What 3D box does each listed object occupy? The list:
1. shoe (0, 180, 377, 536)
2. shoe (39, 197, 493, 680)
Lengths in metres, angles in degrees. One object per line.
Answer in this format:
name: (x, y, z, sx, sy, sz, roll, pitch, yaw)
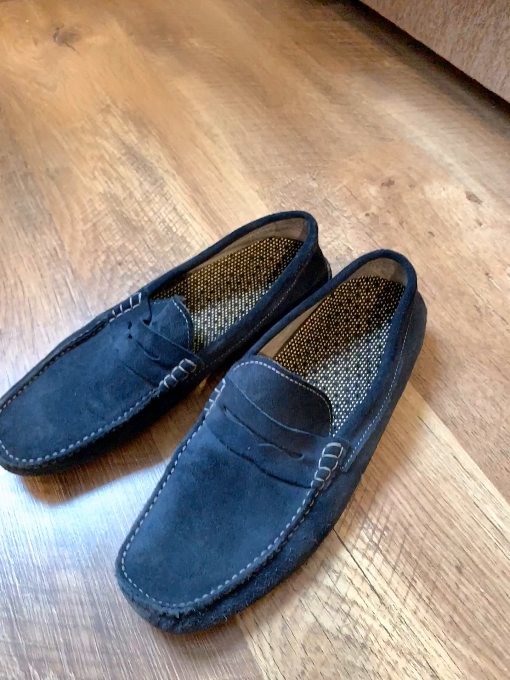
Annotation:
shoe: (-0.053, -0.002, 0.364, 0.270, 0.070, 0.100, -33, 61, -20)
shoe: (0.027, 0.038, 0.329, 0.110, 0.070, 0.291, 30, 61, 21)
